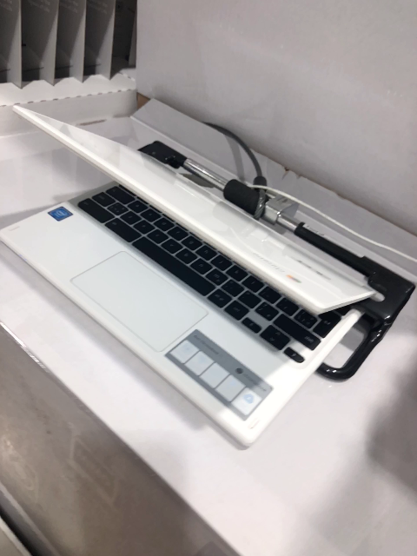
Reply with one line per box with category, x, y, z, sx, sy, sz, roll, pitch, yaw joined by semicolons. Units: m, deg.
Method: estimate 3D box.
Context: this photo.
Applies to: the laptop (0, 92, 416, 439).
laptop;-0.007;-0.047;0.396;0.284;0.091;0.201;34;43;23
